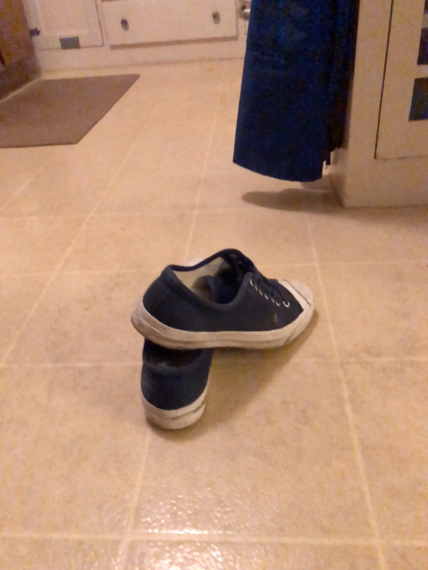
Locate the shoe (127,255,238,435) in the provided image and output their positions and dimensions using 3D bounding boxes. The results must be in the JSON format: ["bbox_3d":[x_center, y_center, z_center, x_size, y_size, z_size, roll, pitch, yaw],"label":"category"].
[{"bbox_3d":[-0.026,0.058,0.623,0.110,0.080,0.292,2,28,3],"label":"shoe"}]

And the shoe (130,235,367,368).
[{"bbox_3d":[0.056,0.010,0.600,0.290,0.099,0.100,-4,45,-43],"label":"shoe"}]
